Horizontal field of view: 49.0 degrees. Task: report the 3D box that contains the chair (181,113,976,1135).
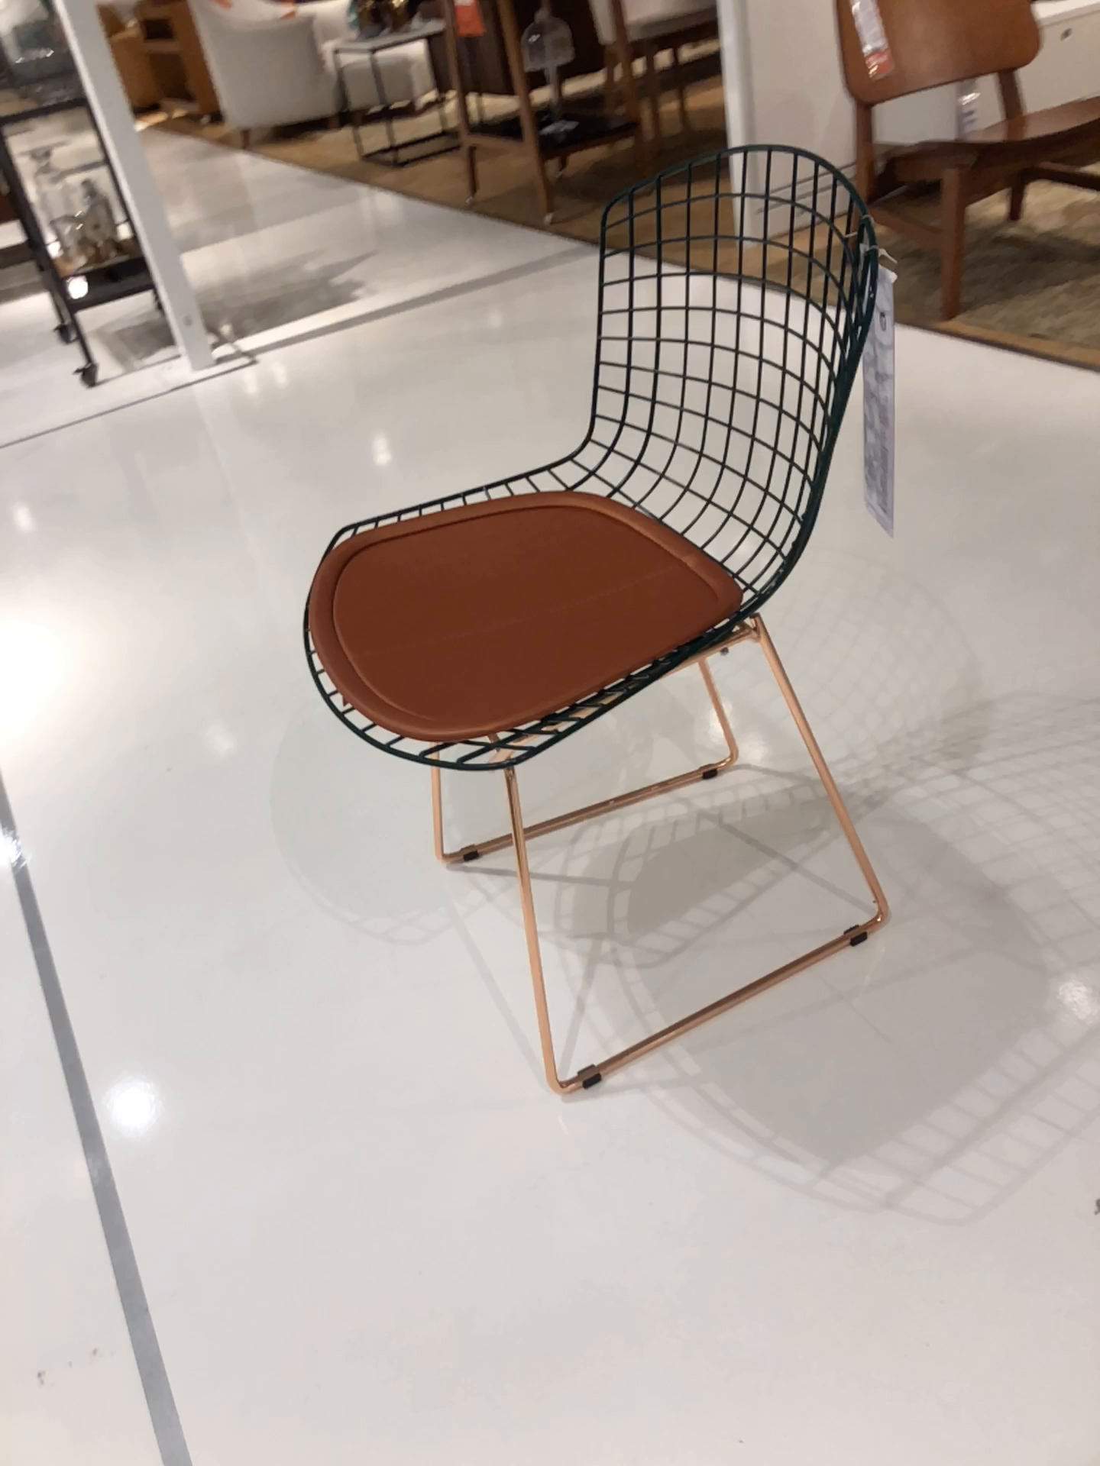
[{"bbox_3d":[0.039,-0.124,1.166,0.500,0.724,0.494,-20,35,-11],"label":"chair"}]
